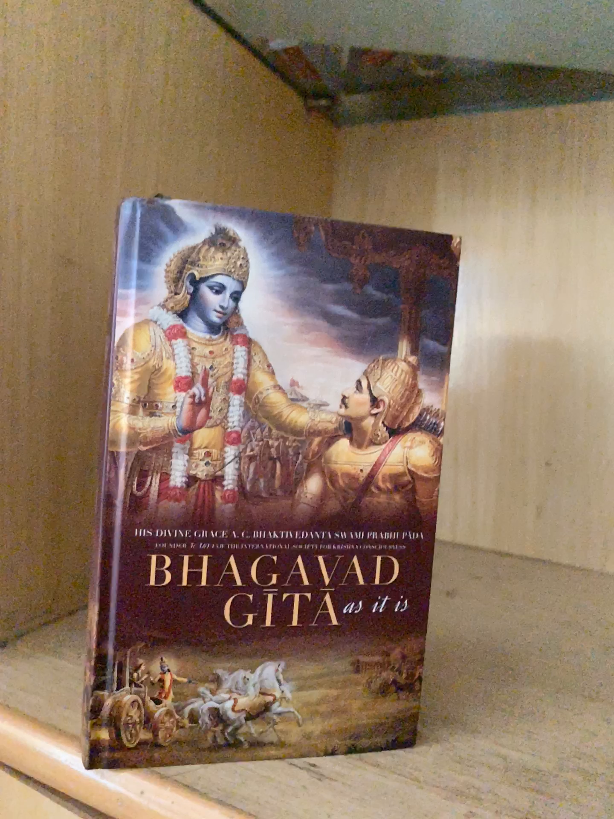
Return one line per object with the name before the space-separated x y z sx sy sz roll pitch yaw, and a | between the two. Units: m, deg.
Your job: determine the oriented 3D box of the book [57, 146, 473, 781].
book | -0.019 0.022 0.271 0.140 0.220 0.070 4 2 -13
